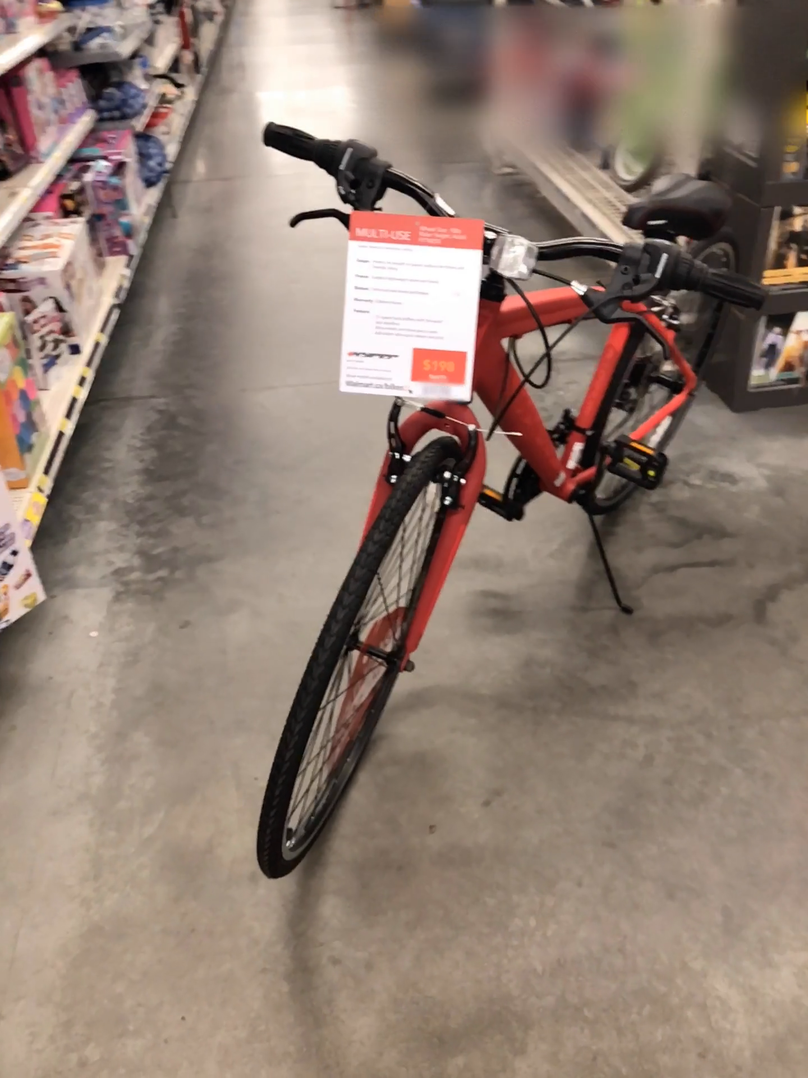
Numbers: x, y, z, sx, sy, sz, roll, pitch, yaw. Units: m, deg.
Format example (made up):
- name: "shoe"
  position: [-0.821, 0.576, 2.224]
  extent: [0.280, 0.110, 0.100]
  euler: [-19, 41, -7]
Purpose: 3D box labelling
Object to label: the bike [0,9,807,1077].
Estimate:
- name: "bike"
  position: [0.290, -0.194, 1.530]
  extent: [0.614, 1.000, 1.693]
  euler: [20, 43, 28]
